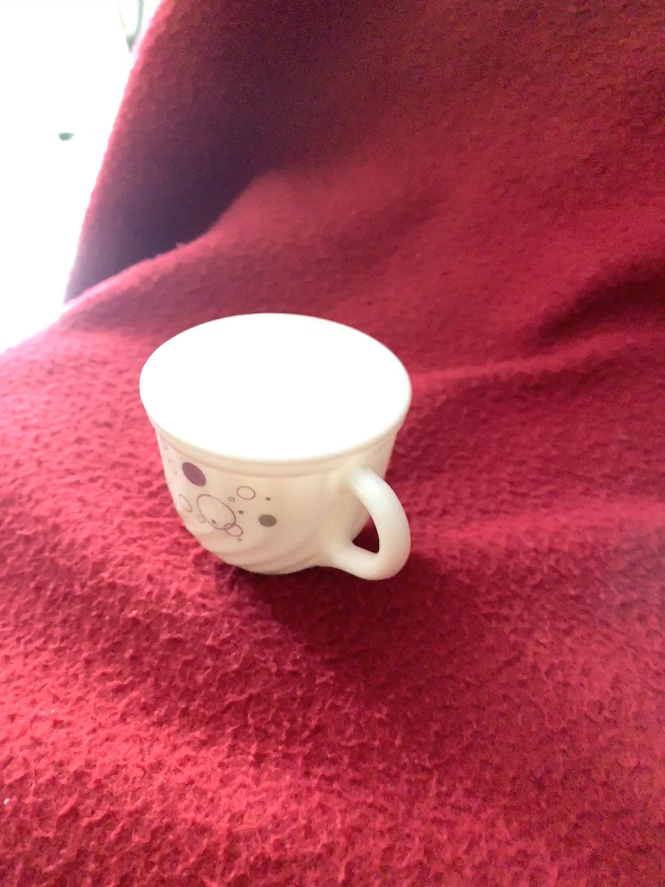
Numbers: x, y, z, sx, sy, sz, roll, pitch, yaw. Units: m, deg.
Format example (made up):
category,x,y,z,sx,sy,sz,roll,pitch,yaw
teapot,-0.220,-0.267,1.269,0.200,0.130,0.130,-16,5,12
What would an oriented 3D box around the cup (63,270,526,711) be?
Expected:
category,x,y,z,sx,sy,sz,roll,pitch,yaw
cup,-0.015,0.003,0.200,0.080,0.050,0.101,-23,46,-26
